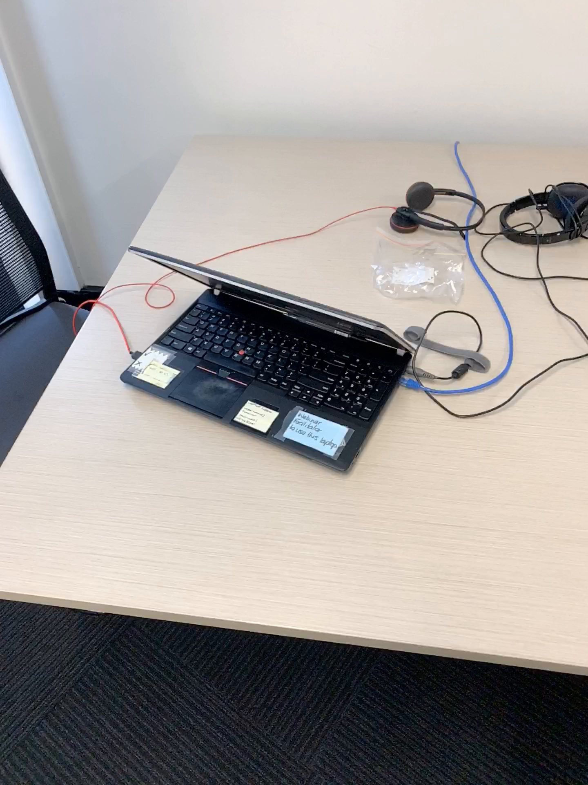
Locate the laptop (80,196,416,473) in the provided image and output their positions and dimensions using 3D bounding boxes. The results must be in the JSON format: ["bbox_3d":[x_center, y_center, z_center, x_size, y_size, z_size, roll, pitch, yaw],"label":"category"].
[{"bbox_3d":[-0.045,-0.090,0.738,0.326,0.157,0.227,20,47,21],"label":"laptop"}]
